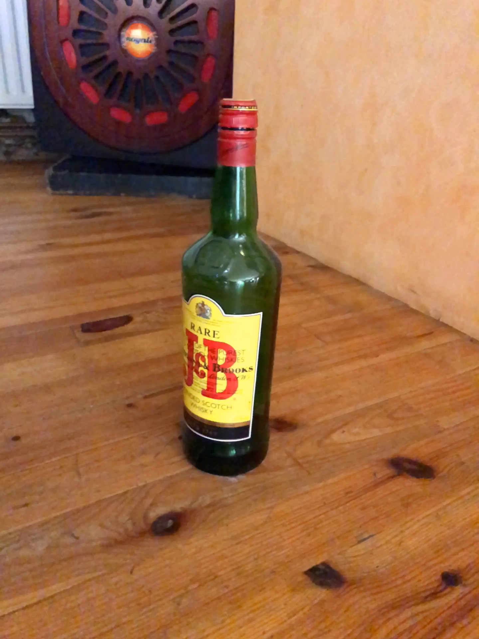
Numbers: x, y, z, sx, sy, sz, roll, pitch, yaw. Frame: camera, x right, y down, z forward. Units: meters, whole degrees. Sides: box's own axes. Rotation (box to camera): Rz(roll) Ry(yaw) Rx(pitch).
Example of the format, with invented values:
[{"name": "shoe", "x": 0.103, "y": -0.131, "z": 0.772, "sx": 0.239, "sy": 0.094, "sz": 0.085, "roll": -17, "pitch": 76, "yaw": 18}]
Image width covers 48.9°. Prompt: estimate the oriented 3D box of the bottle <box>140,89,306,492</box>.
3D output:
[{"name": "bottle", "x": -0.016, "y": -0.020, "z": 0.447, "sx": 0.090, "sy": 0.318, "sz": 0.080, "roll": 19, "pitch": 30, "yaw": 32}]
